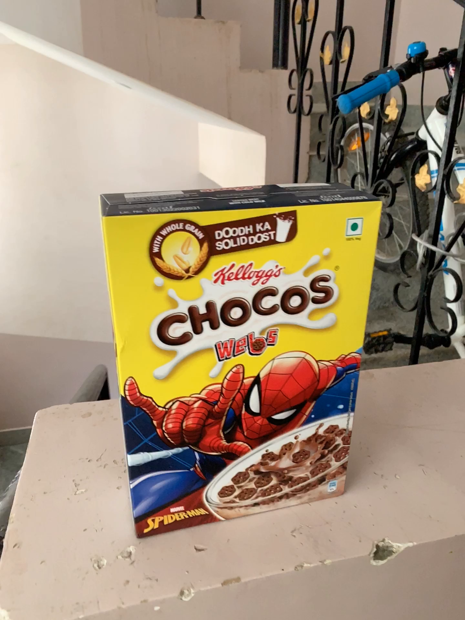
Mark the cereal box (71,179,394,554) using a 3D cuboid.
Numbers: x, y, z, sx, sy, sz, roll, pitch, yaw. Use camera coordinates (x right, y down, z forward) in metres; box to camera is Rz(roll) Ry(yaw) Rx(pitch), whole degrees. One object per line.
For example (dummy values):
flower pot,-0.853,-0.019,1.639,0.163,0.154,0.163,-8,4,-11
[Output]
cereal box,-0.001,0.040,0.354,0.190,0.248,0.070,-6,25,-14
